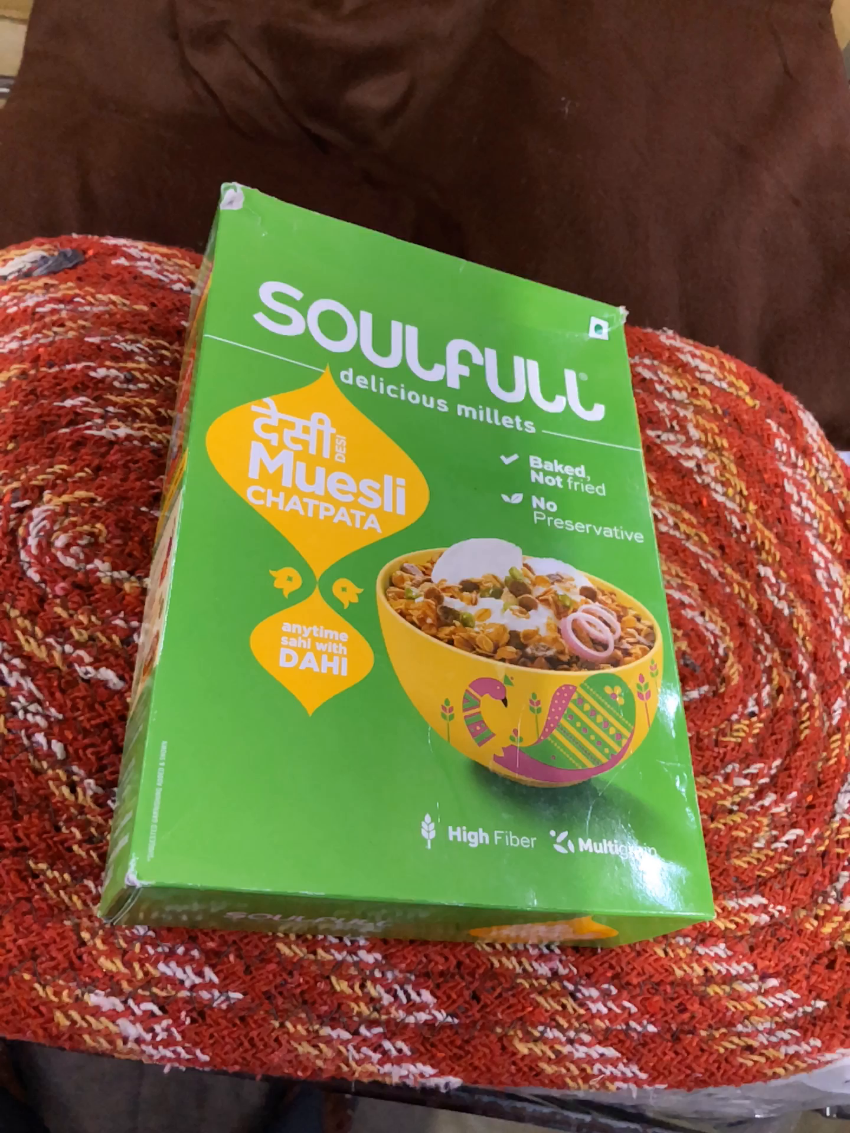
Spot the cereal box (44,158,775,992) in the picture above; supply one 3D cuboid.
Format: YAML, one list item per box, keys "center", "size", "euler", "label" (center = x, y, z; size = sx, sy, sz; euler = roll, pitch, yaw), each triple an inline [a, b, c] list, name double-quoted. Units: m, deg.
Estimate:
- center: [-0.005, -0.004, 0.299]
  size: [0.170, 0.060, 0.241]
  euler: [11, 55, -18]
  label: "cereal box"
